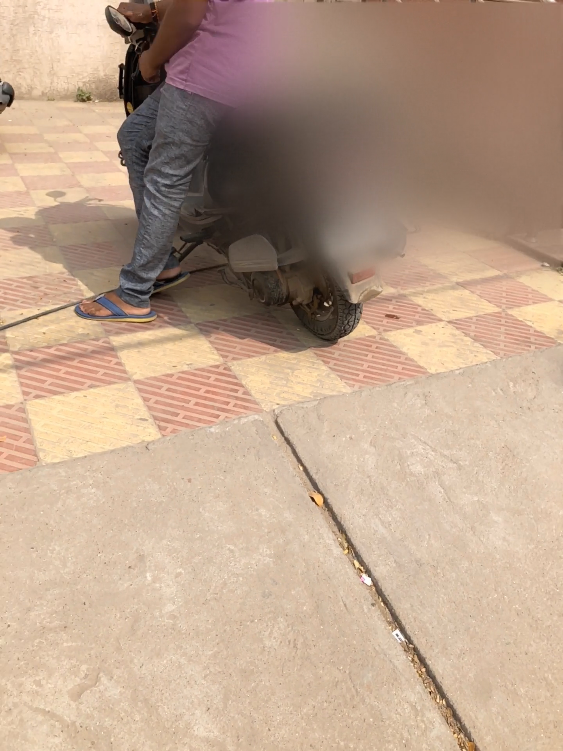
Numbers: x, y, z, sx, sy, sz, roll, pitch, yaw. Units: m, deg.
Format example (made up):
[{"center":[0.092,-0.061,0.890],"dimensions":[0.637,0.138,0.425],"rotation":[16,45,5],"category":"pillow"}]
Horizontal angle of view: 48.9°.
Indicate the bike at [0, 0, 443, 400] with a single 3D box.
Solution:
[{"center":[-0.389,-0.840,2.217],"dimensions":[0.638,1.116,1.597],"rotation":[-18,38,-33],"category":"bike"}]
